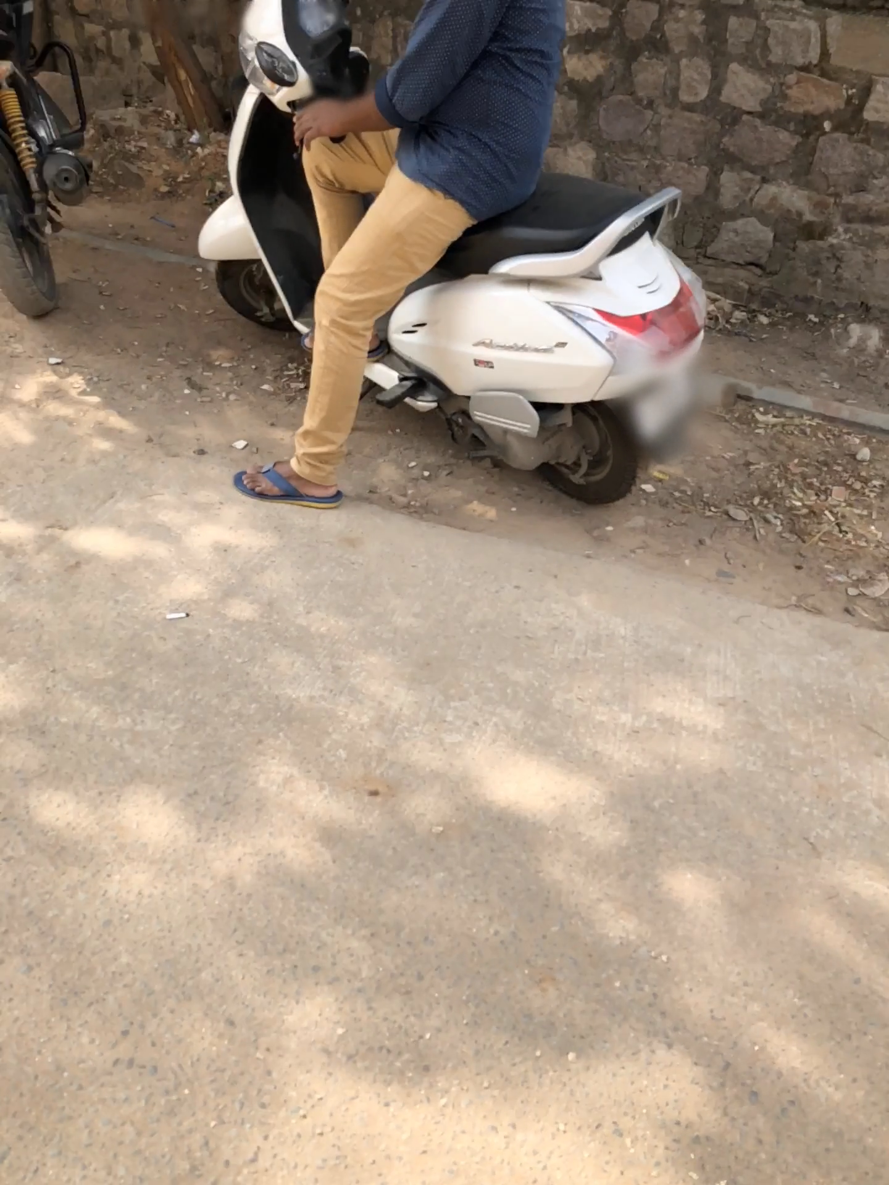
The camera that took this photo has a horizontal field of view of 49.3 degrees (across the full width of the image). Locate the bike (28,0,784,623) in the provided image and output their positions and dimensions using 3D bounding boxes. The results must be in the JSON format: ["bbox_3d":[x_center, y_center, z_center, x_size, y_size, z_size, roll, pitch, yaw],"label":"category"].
[{"bbox_3d":[-0.183,-0.905,2.402,1.589,1.199,0.625,29,42,28],"label":"bike"}]
